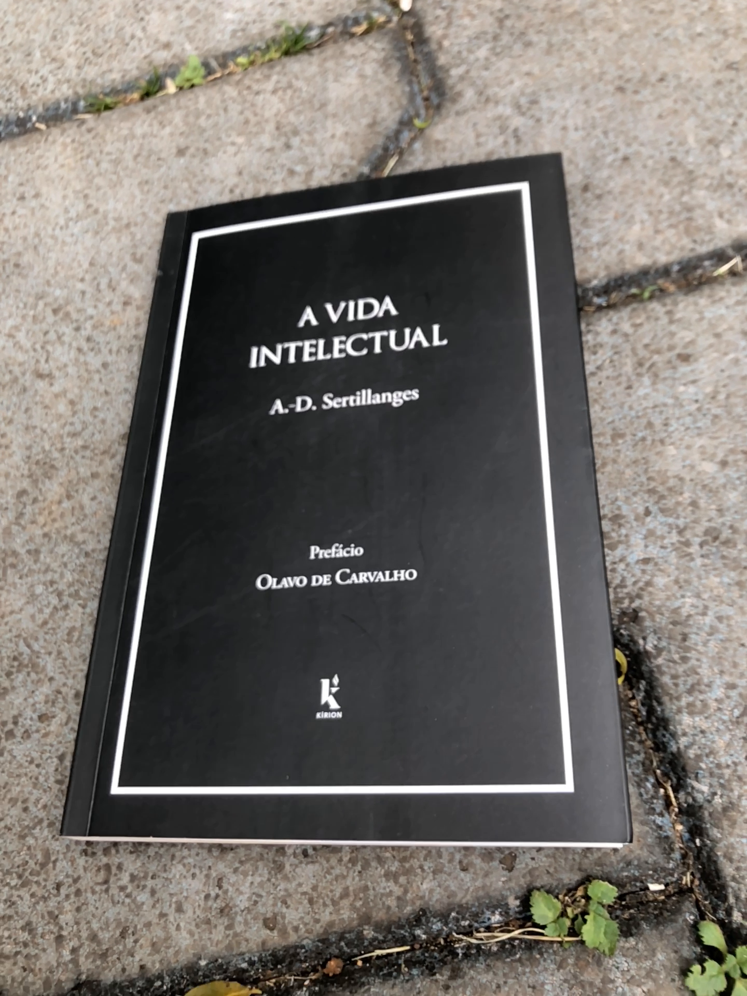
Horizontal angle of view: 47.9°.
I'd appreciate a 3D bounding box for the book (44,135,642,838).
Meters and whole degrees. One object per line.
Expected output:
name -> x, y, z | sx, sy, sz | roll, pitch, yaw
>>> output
book -> -0.008, -0.012, 0.236 | 0.136, 0.020, 0.197 | -5, 64, 12
